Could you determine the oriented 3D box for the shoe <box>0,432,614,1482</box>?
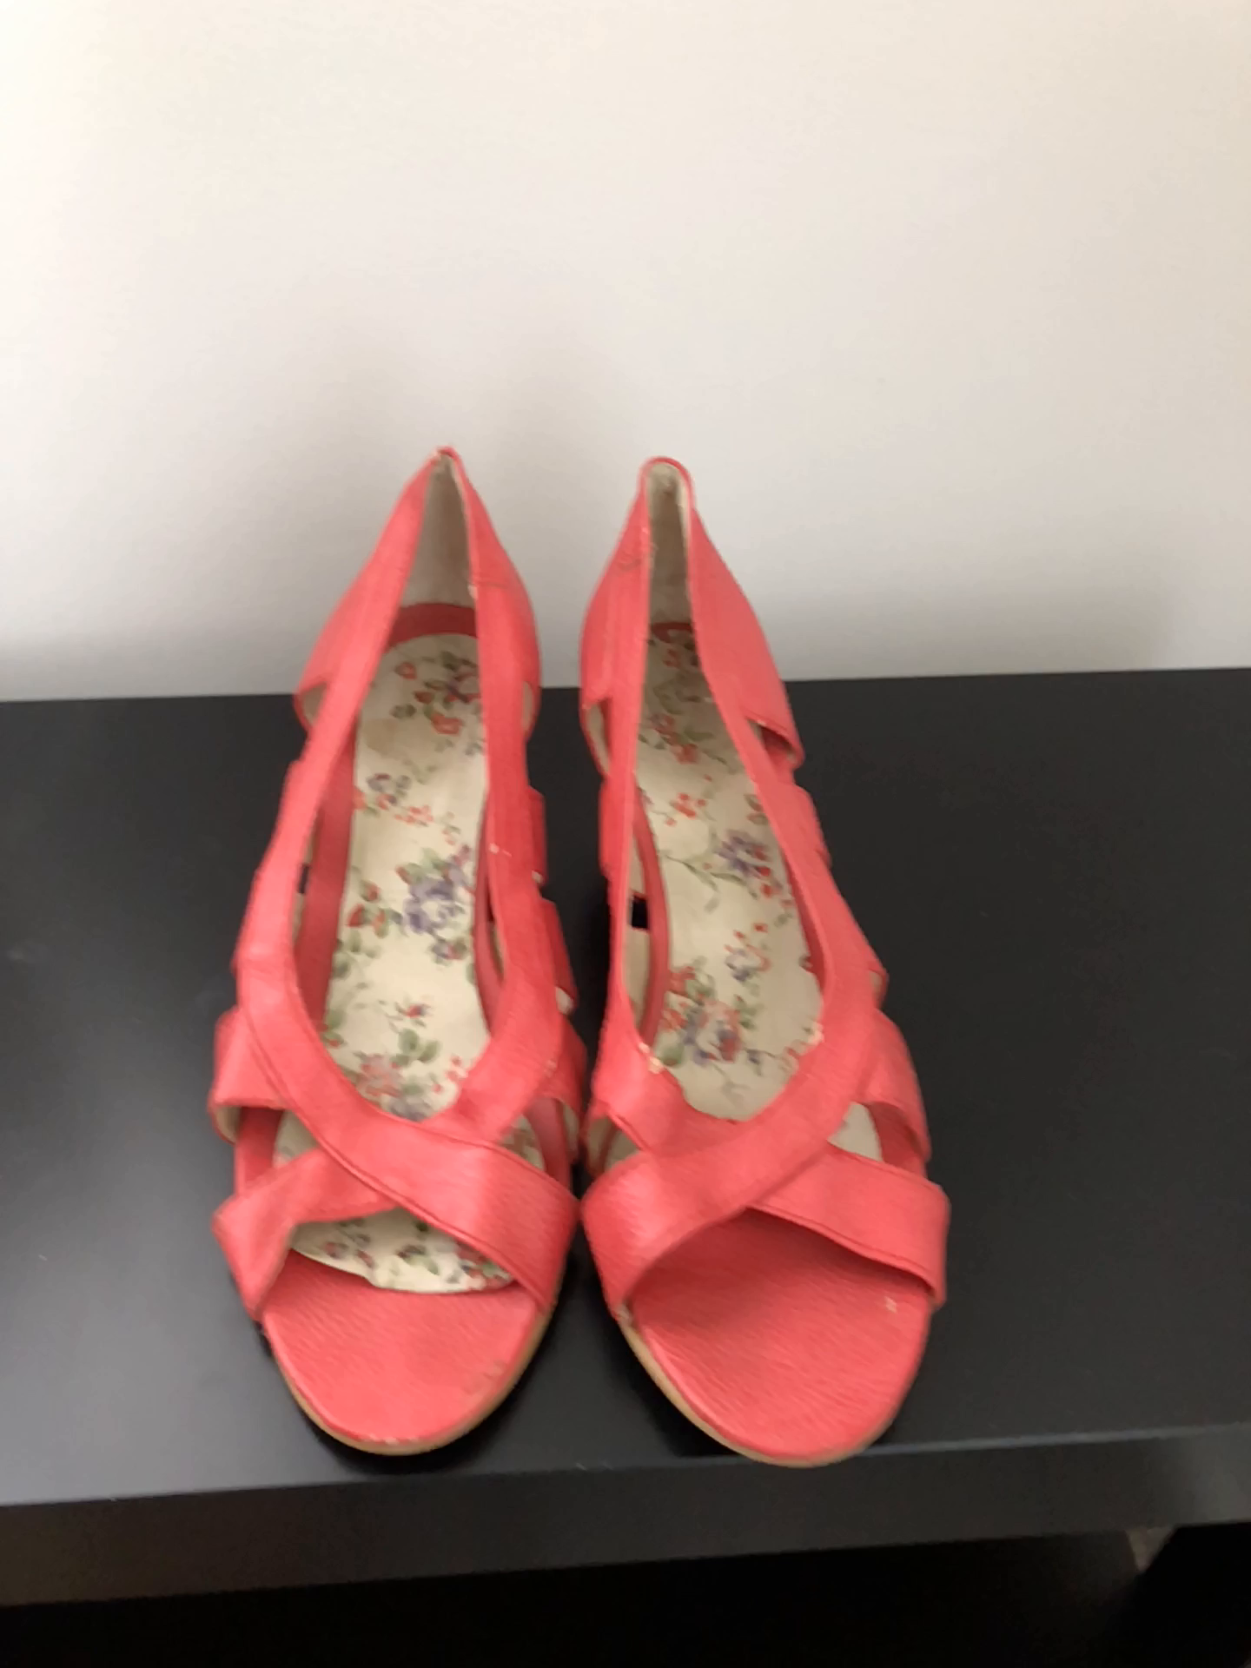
[{"bbox_3d":[-0.057,0.008,0.311,0.087,0.100,0.221,-2,43,-5],"label":"shoe"}]

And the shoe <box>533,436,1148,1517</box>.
[{"bbox_3d":[0.024,0.011,0.313,0.077,0.100,0.231,-2,43,-5],"label":"shoe"}]
